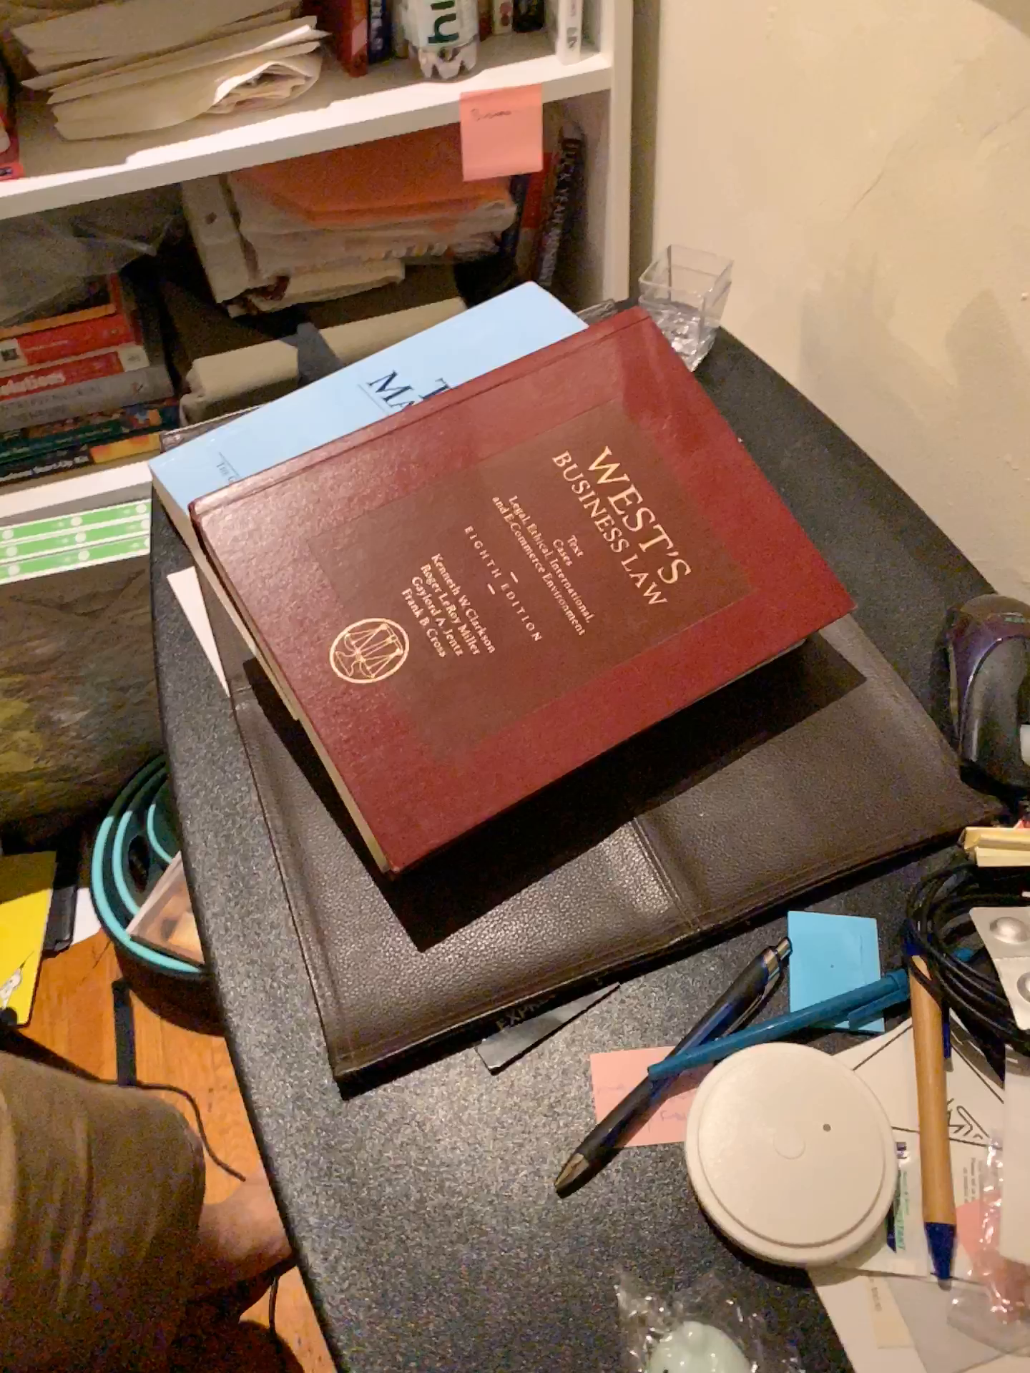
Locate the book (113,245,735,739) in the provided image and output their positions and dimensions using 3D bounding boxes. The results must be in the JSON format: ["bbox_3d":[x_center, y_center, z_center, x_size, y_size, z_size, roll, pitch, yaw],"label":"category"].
[{"bbox_3d":[-0.054,-0.128,0.606,0.270,0.070,0.221,-29,55,-16],"label":"book"}]

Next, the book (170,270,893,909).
[{"bbox_3d":[0.010,-0.057,0.513,0.270,0.050,0.210,-29,80,-16],"label":"book"}]
